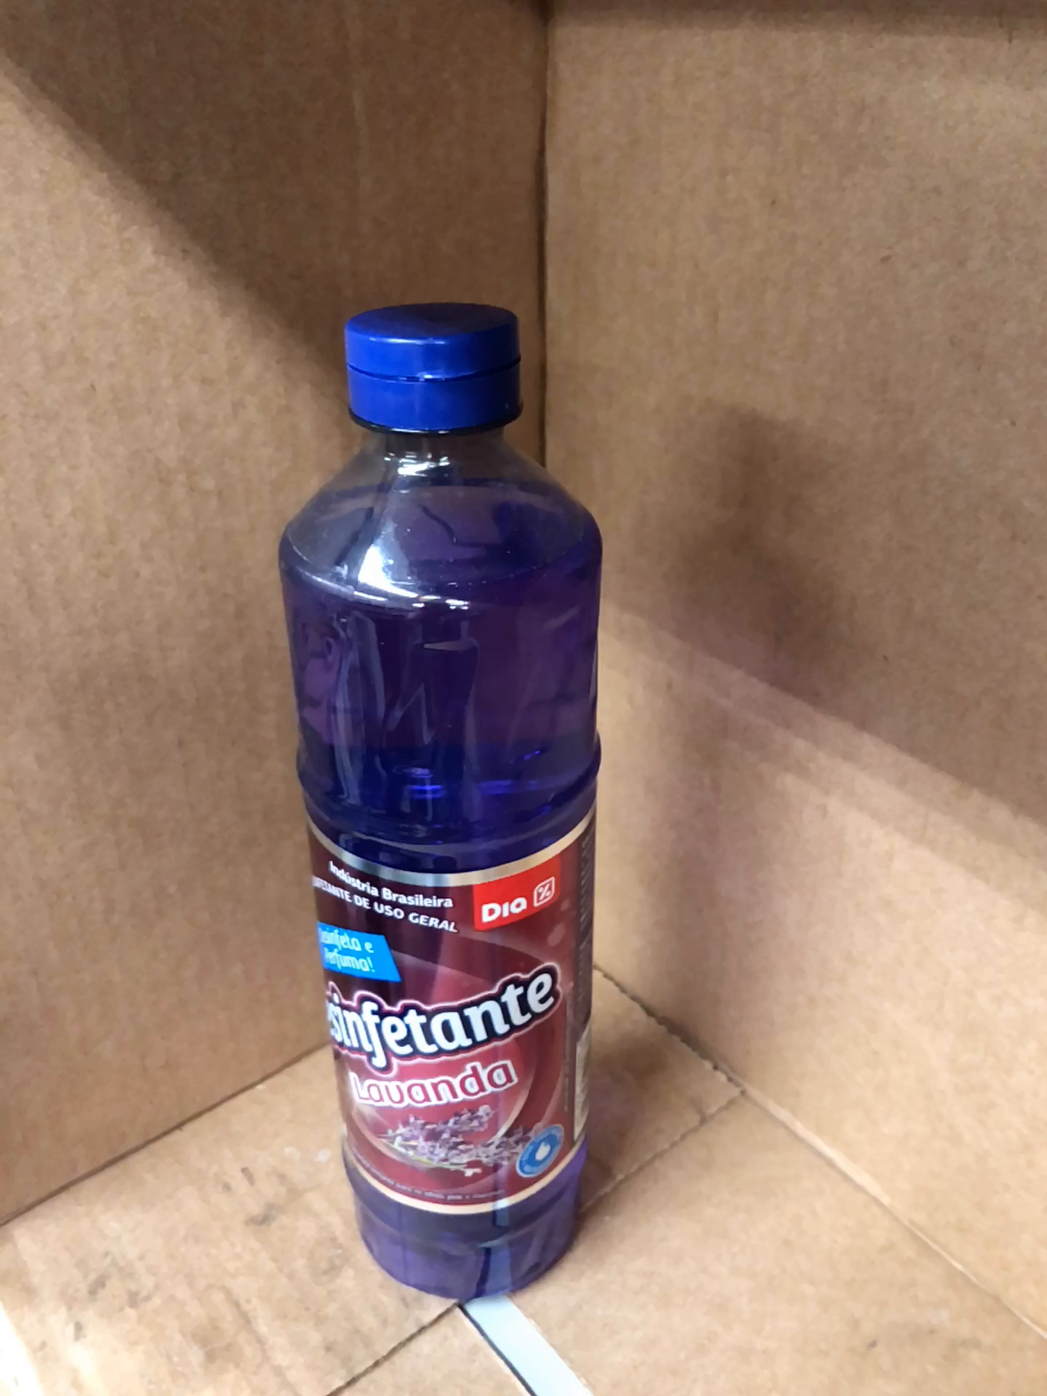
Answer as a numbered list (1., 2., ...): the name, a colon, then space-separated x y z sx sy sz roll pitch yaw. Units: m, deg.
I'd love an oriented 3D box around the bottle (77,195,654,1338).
1. bottle: -0.019 0.026 0.255 0.070 0.238 0.071 -1 31 1
